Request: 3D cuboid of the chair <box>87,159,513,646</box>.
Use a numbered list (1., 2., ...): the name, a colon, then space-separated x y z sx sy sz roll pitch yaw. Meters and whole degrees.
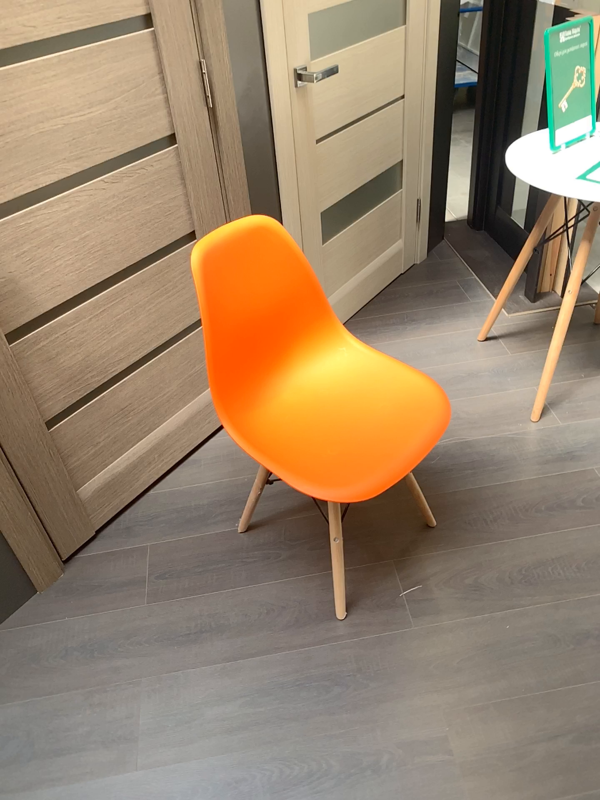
1. chair: 0.031 -0.021 1.280 0.522 0.716 0.531 26 49 34
